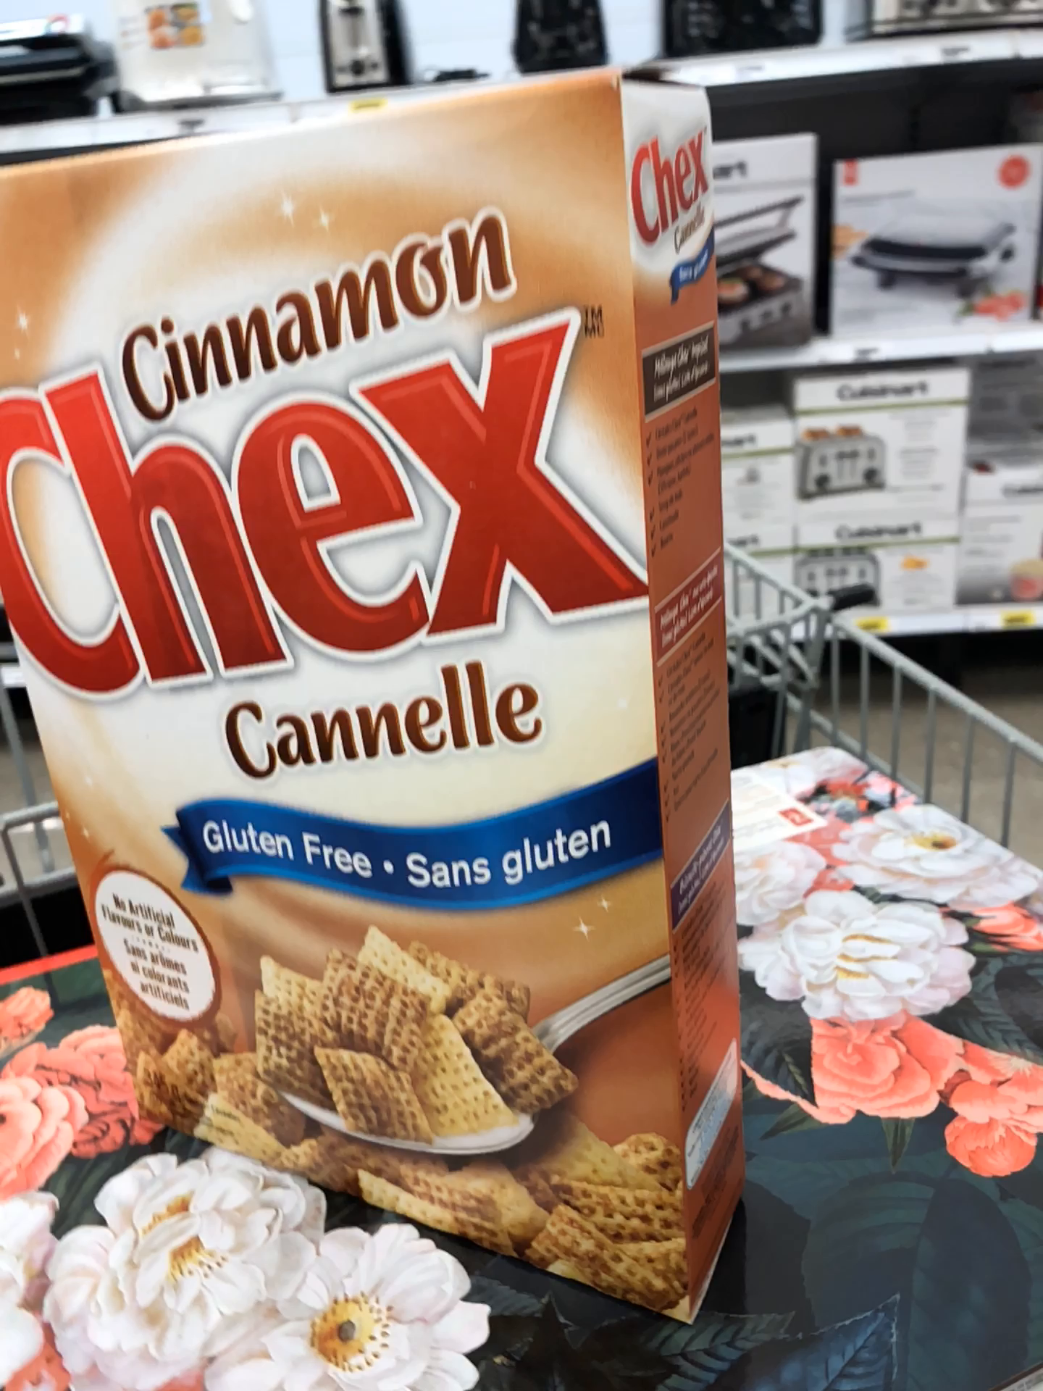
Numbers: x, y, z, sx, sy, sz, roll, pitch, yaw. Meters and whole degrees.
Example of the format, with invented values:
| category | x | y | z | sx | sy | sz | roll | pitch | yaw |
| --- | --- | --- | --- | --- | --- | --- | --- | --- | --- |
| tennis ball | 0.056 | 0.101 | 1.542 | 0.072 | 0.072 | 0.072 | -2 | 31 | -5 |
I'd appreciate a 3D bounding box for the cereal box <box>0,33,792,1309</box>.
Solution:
| category | x | y | z | sx | sy | sz | roll | pitch | yaw |
| --- | --- | --- | --- | --- | --- | --- | --- | --- | --- |
| cereal box | -0.046 | -0.002 | 0.290 | 0.200 | 0.259 | 0.060 | 7 | 22 | 24 |
